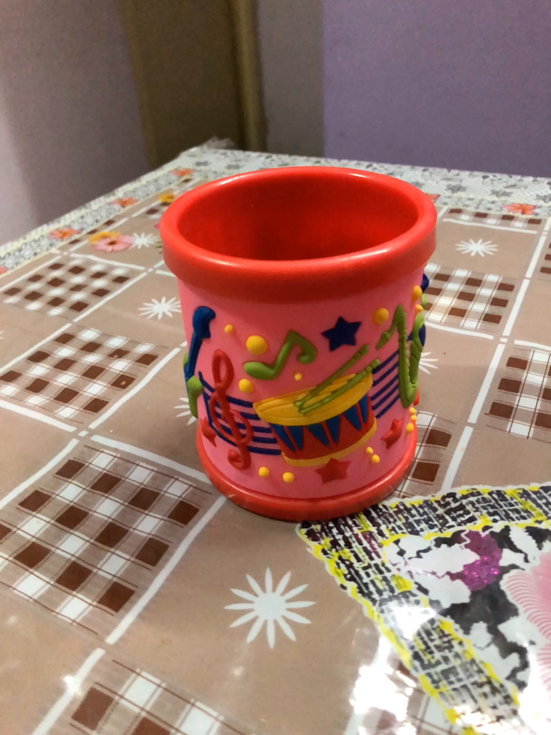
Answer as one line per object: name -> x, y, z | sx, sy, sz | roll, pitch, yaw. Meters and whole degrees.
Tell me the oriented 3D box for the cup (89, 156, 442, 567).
cup -> 0.005, -0.007, 0.205 | 0.080, 0.099, 0.081 | -2, 34, 2
